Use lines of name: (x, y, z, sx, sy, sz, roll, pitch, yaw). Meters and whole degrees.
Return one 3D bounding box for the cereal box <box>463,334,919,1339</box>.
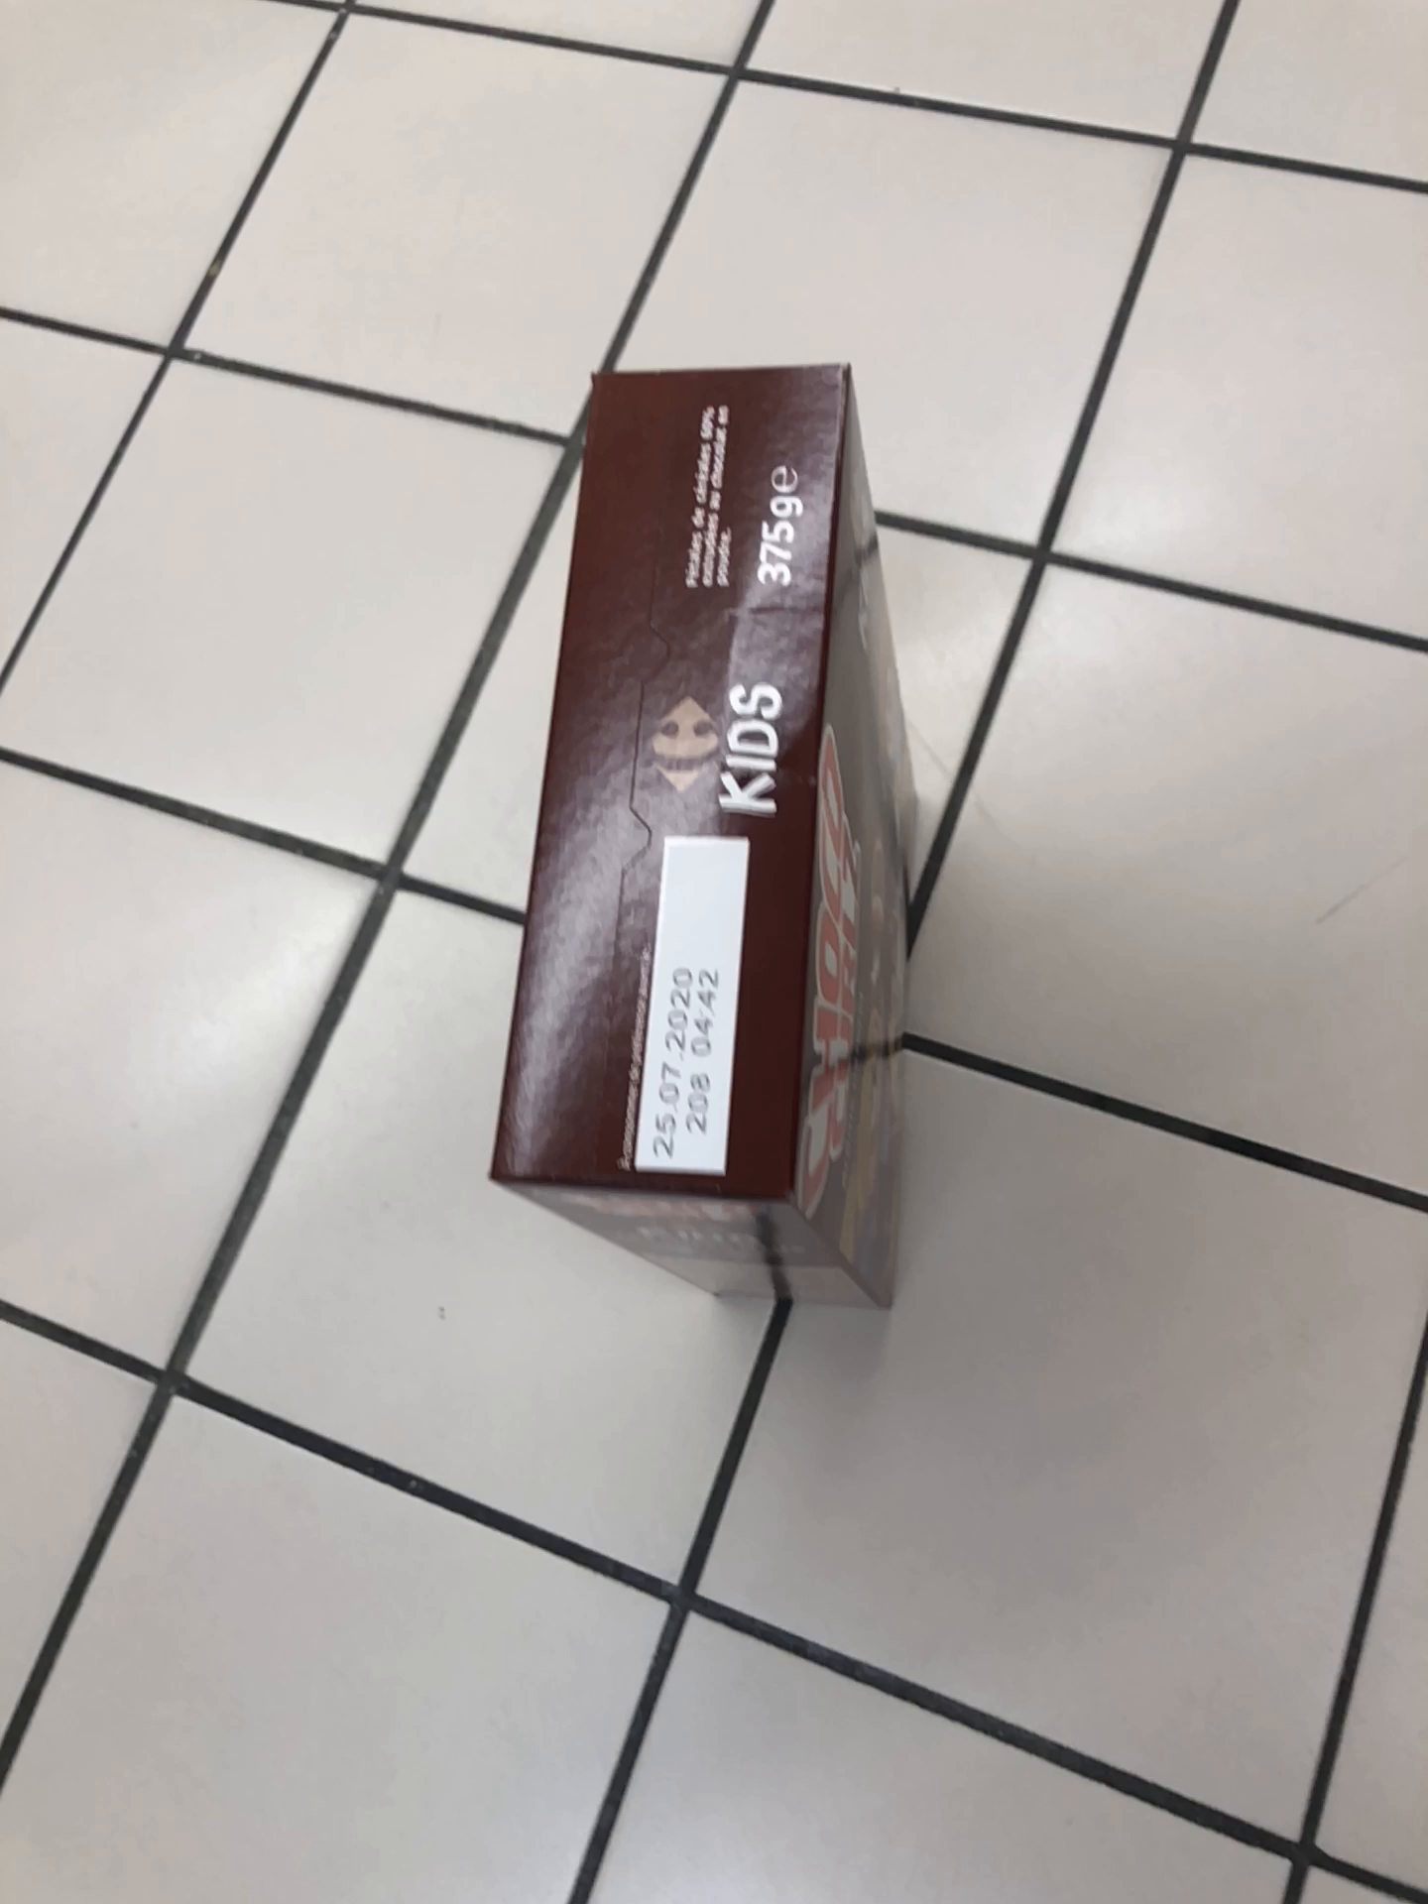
cereal box: (0.014, -0.005, 0.451, 0.070, 0.260, 0.200, 2, 72, 10)
